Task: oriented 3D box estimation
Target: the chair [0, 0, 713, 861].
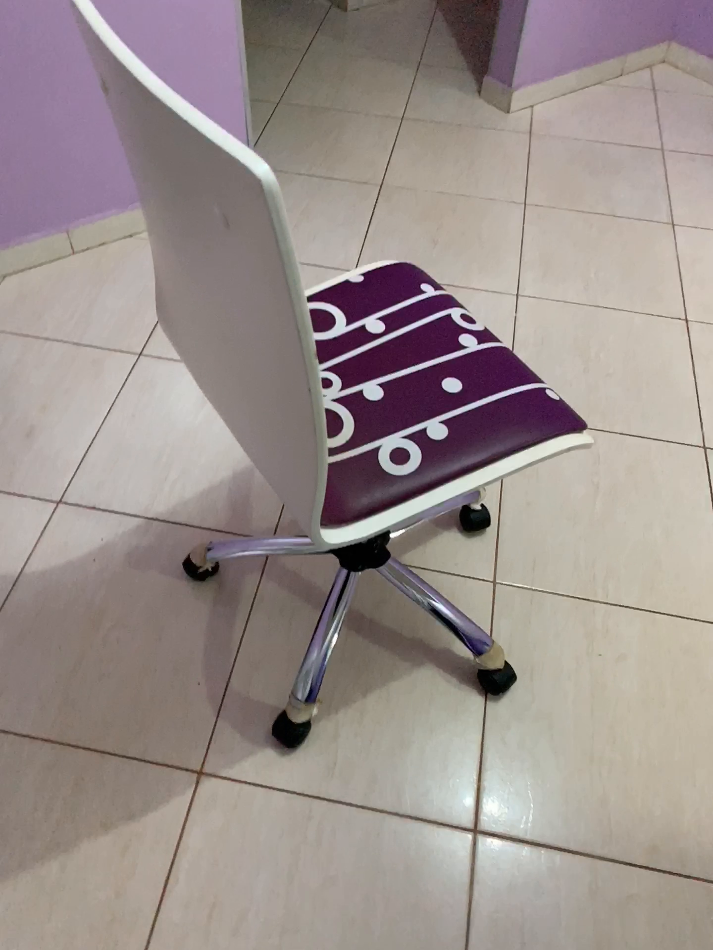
[{"bbox_3d":[-0.010,-0.076,1.000,0.621,1.007,0.688,-24,57,-20],"label":"chair"}]
